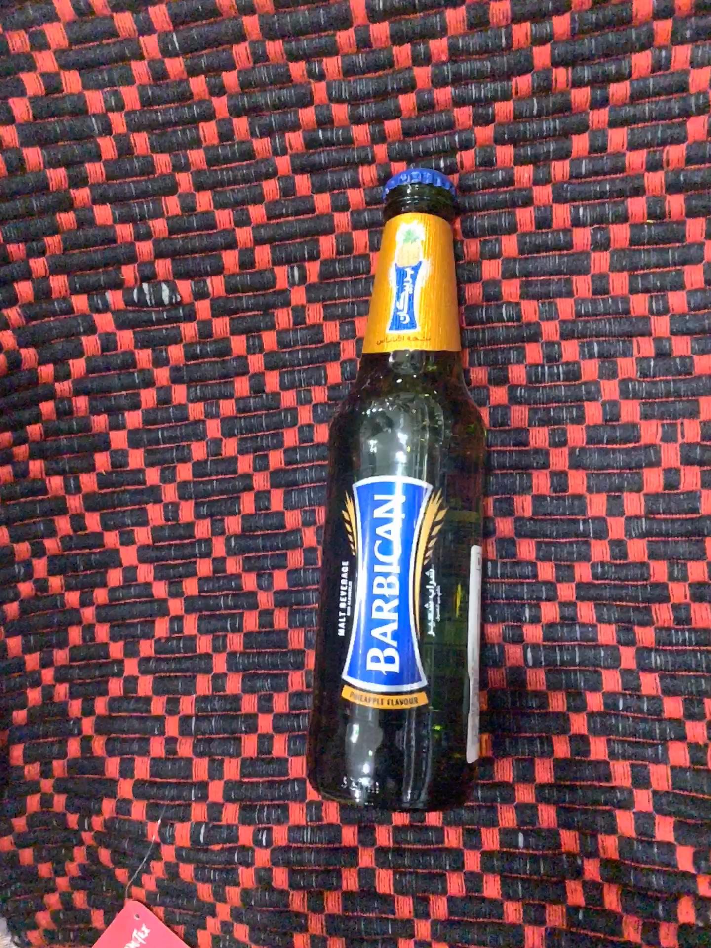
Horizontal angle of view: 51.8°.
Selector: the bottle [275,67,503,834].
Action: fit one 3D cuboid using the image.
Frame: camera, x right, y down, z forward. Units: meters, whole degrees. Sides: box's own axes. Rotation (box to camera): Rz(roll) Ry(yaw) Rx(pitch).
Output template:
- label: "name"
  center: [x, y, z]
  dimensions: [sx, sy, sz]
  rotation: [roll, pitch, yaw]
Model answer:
- label: "bottle"
  center: [0.021, -0.014, 0.271]
  dimensions: [0.060, 0.070, 0.250]
  rotation: [1, 77, 13]
